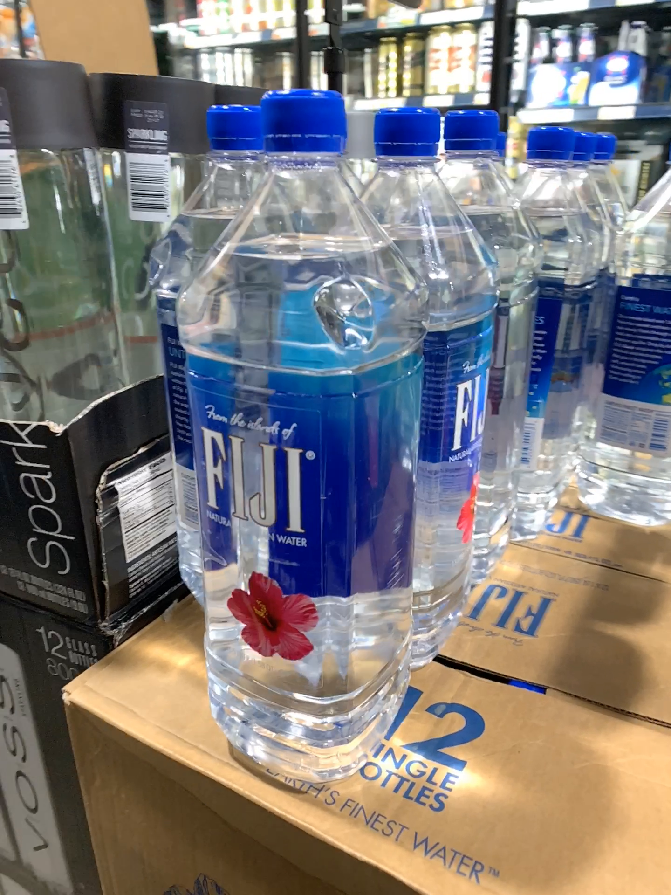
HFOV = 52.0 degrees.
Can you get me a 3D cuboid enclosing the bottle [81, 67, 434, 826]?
[{"bbox_3d":[-0.023,0.006,0.288,0.090,0.279,0.080,14,26,32],"label":"bottle"}]
